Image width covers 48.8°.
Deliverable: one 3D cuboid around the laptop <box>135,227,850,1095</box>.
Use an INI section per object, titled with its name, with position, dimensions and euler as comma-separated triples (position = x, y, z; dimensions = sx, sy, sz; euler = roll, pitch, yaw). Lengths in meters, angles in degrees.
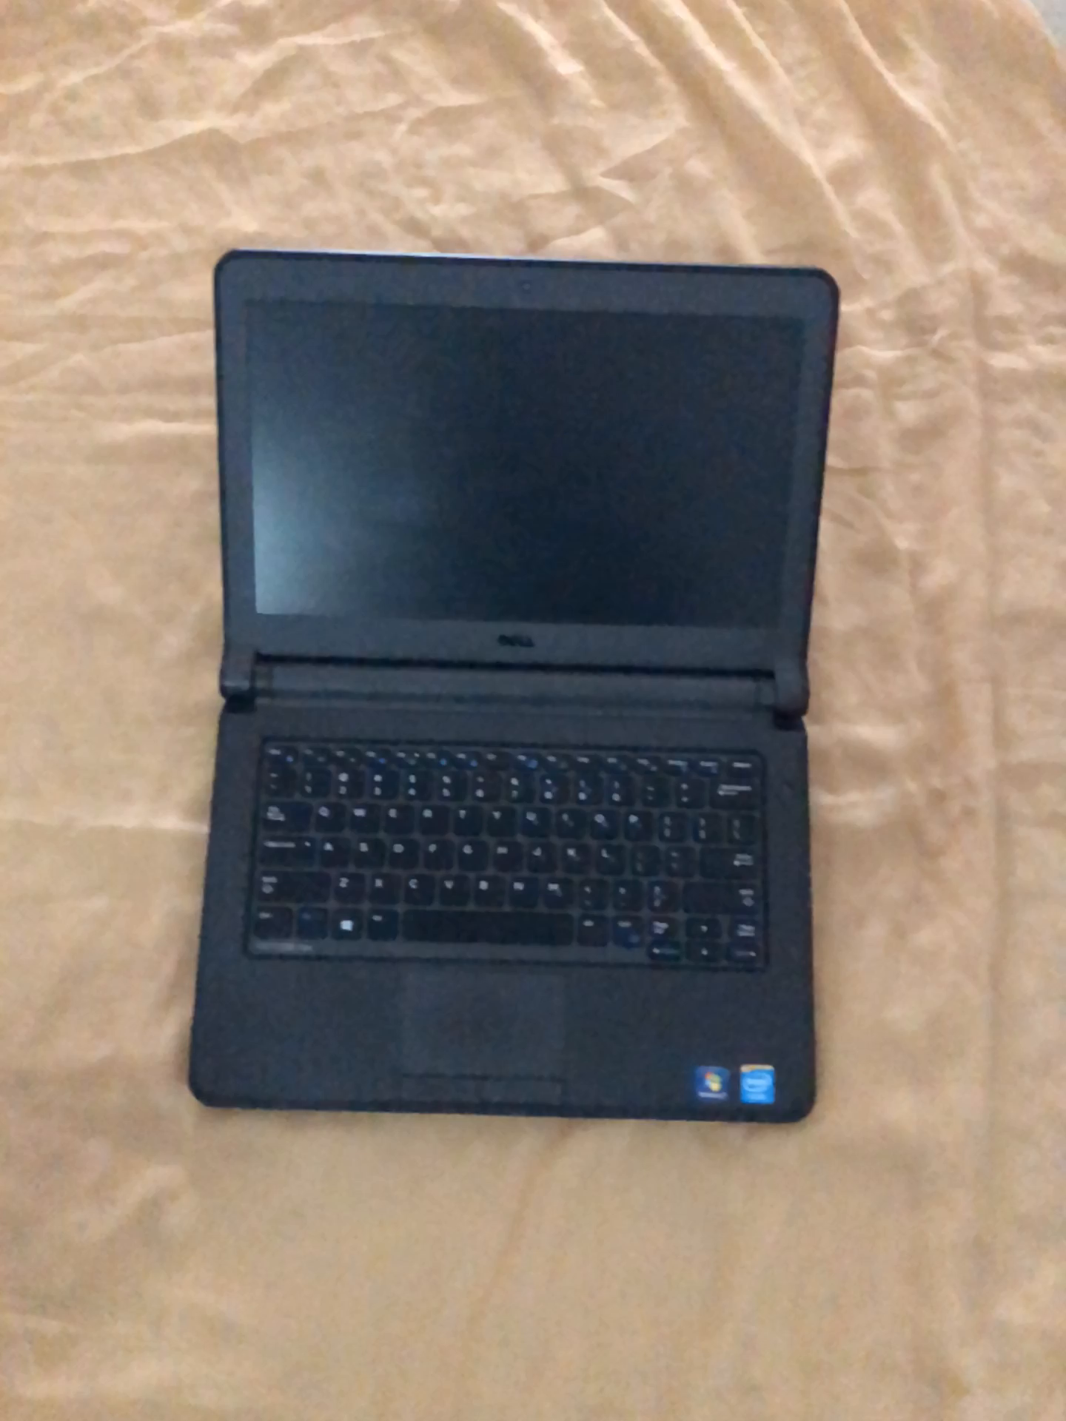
[laptop]
position = -0.013, -0.026, 0.593
dimensions = 0.308, 0.092, 0.409
euler = 1, 78, -1
